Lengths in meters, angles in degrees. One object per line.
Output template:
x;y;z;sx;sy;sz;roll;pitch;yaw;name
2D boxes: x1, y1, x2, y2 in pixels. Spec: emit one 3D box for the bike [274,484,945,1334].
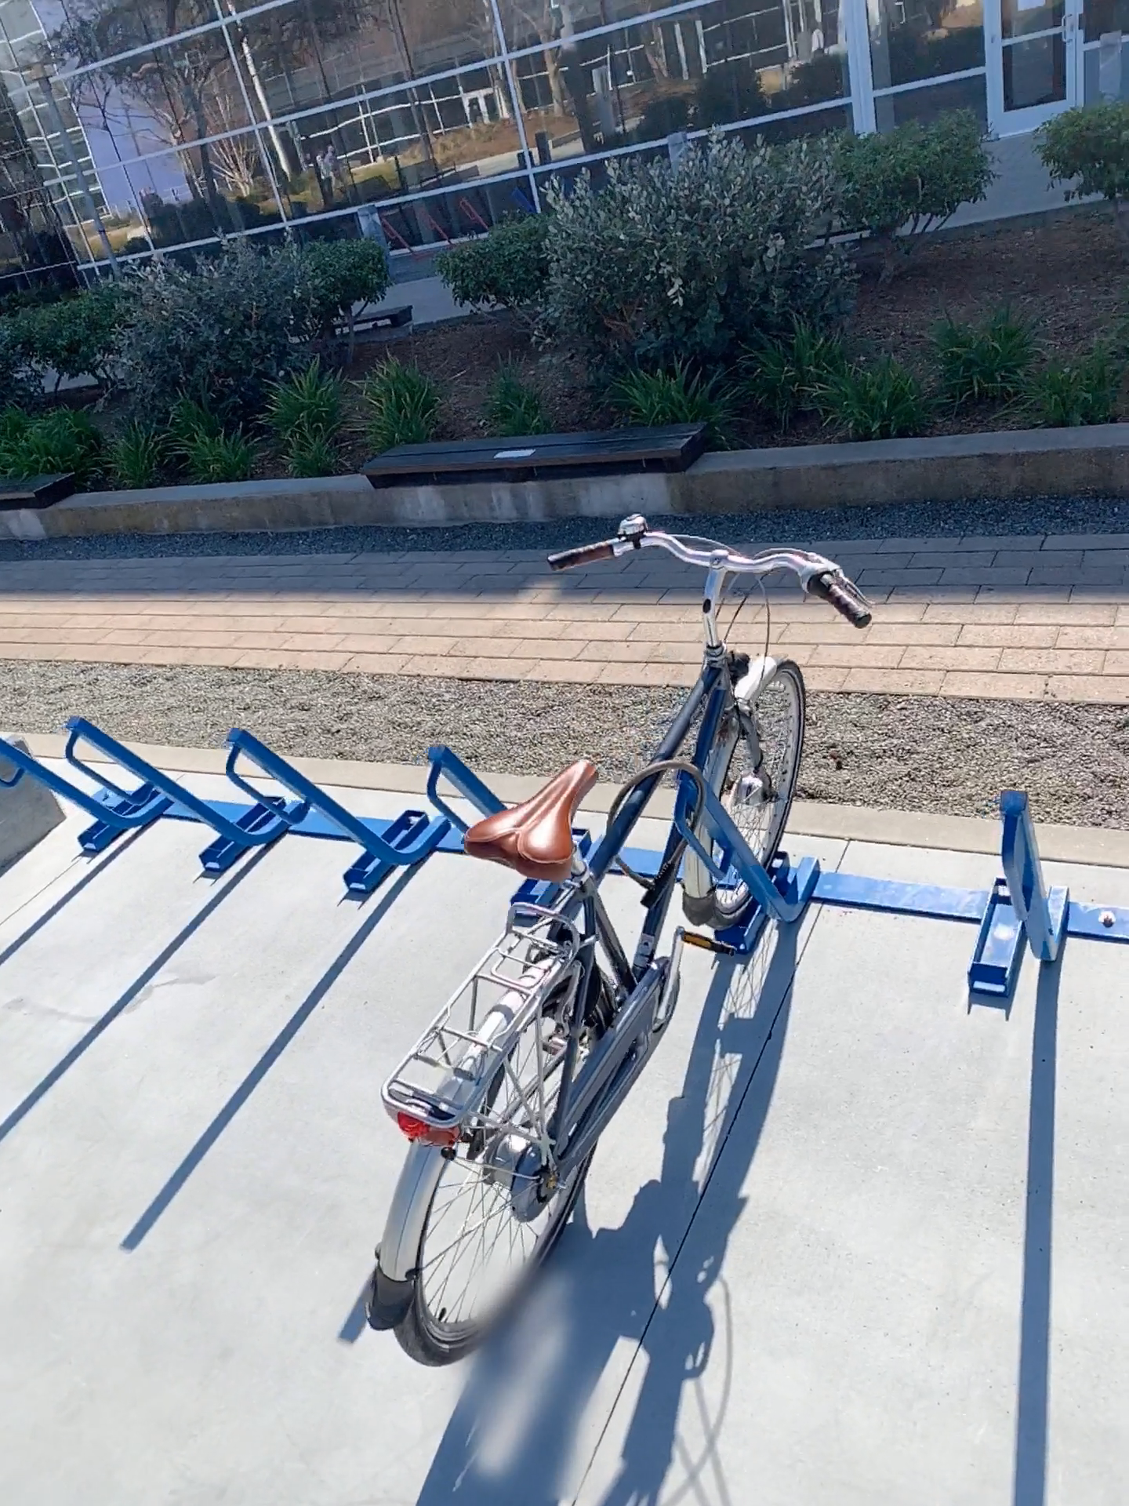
0.204;0.169;2.028;0.592;0.916;1.062;7;36;33;bike
